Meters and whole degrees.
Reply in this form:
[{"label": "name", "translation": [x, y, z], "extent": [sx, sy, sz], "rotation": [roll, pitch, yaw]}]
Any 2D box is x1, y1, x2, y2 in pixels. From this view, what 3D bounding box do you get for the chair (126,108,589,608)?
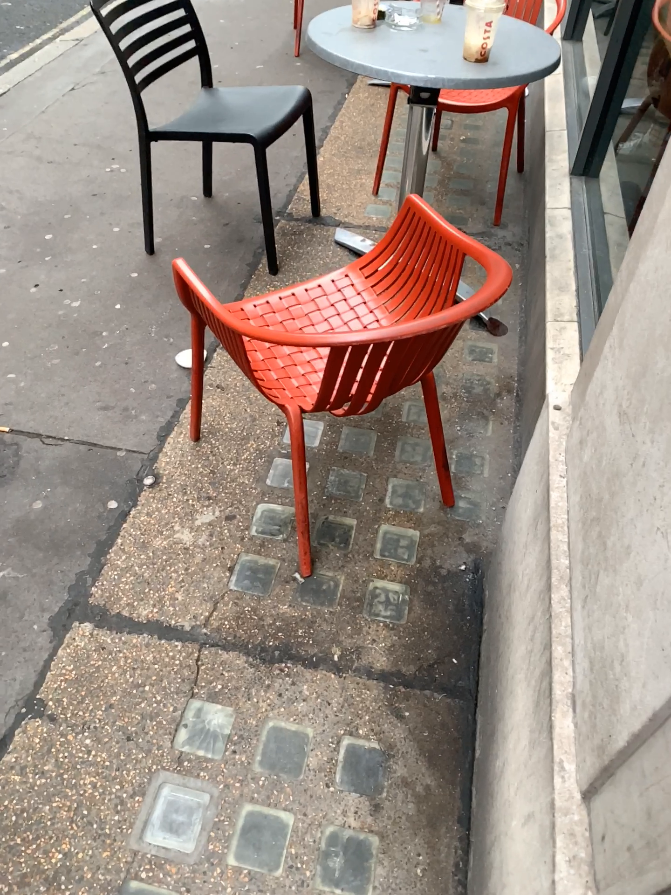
[{"label": "chair", "translation": [0.004, -0.204, 1.454], "extent": [0.581, 0.693, 0.615], "rotation": [-23, 52, -22]}]
